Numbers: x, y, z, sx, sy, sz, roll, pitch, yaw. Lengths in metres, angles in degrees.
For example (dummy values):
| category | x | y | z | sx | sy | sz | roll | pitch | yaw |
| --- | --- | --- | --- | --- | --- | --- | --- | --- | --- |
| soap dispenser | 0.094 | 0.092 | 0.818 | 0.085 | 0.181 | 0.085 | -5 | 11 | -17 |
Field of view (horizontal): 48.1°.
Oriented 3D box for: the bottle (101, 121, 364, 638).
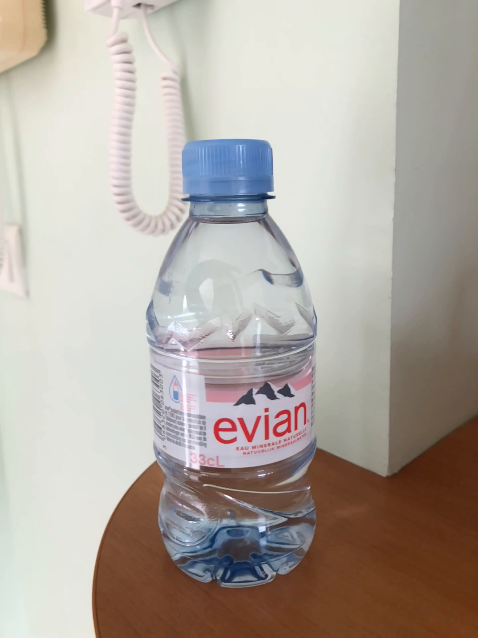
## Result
| category | x | y | z | sx | sy | sz | roll | pitch | yaw |
| --- | --- | --- | --- | --- | --- | --- | --- | --- | --- |
| bottle | -0.005 | 0.016 | 0.200 | 0.070 | 0.159 | 0.070 | -1 | 12 | 0 |
